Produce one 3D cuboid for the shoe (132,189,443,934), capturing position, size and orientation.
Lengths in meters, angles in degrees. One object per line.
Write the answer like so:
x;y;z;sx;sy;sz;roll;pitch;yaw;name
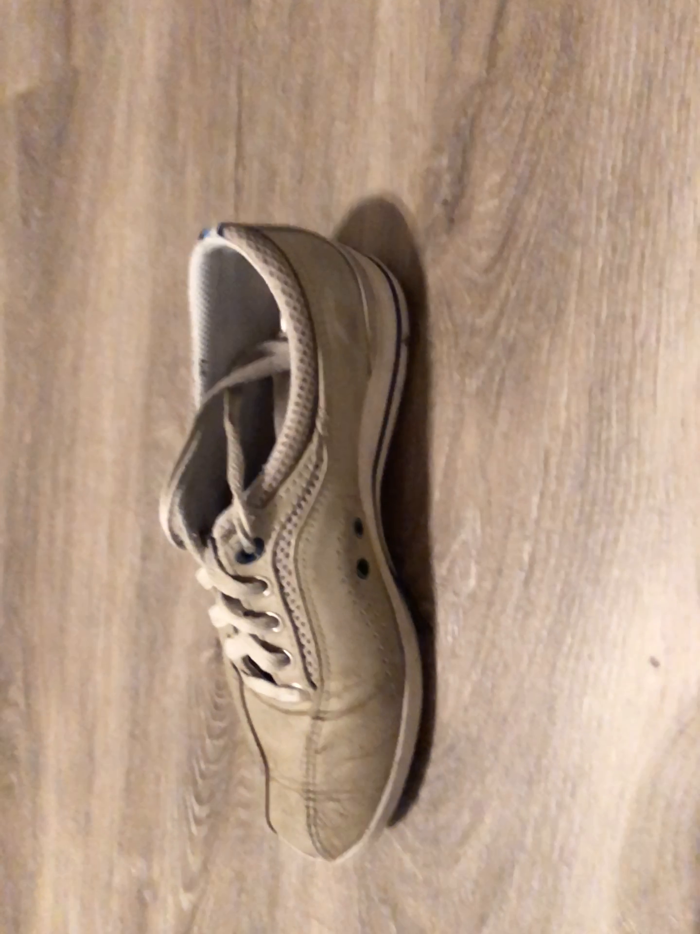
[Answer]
-0.026;0.036;0.303;0.090;0.070;0.250;3;92;41;shoe
